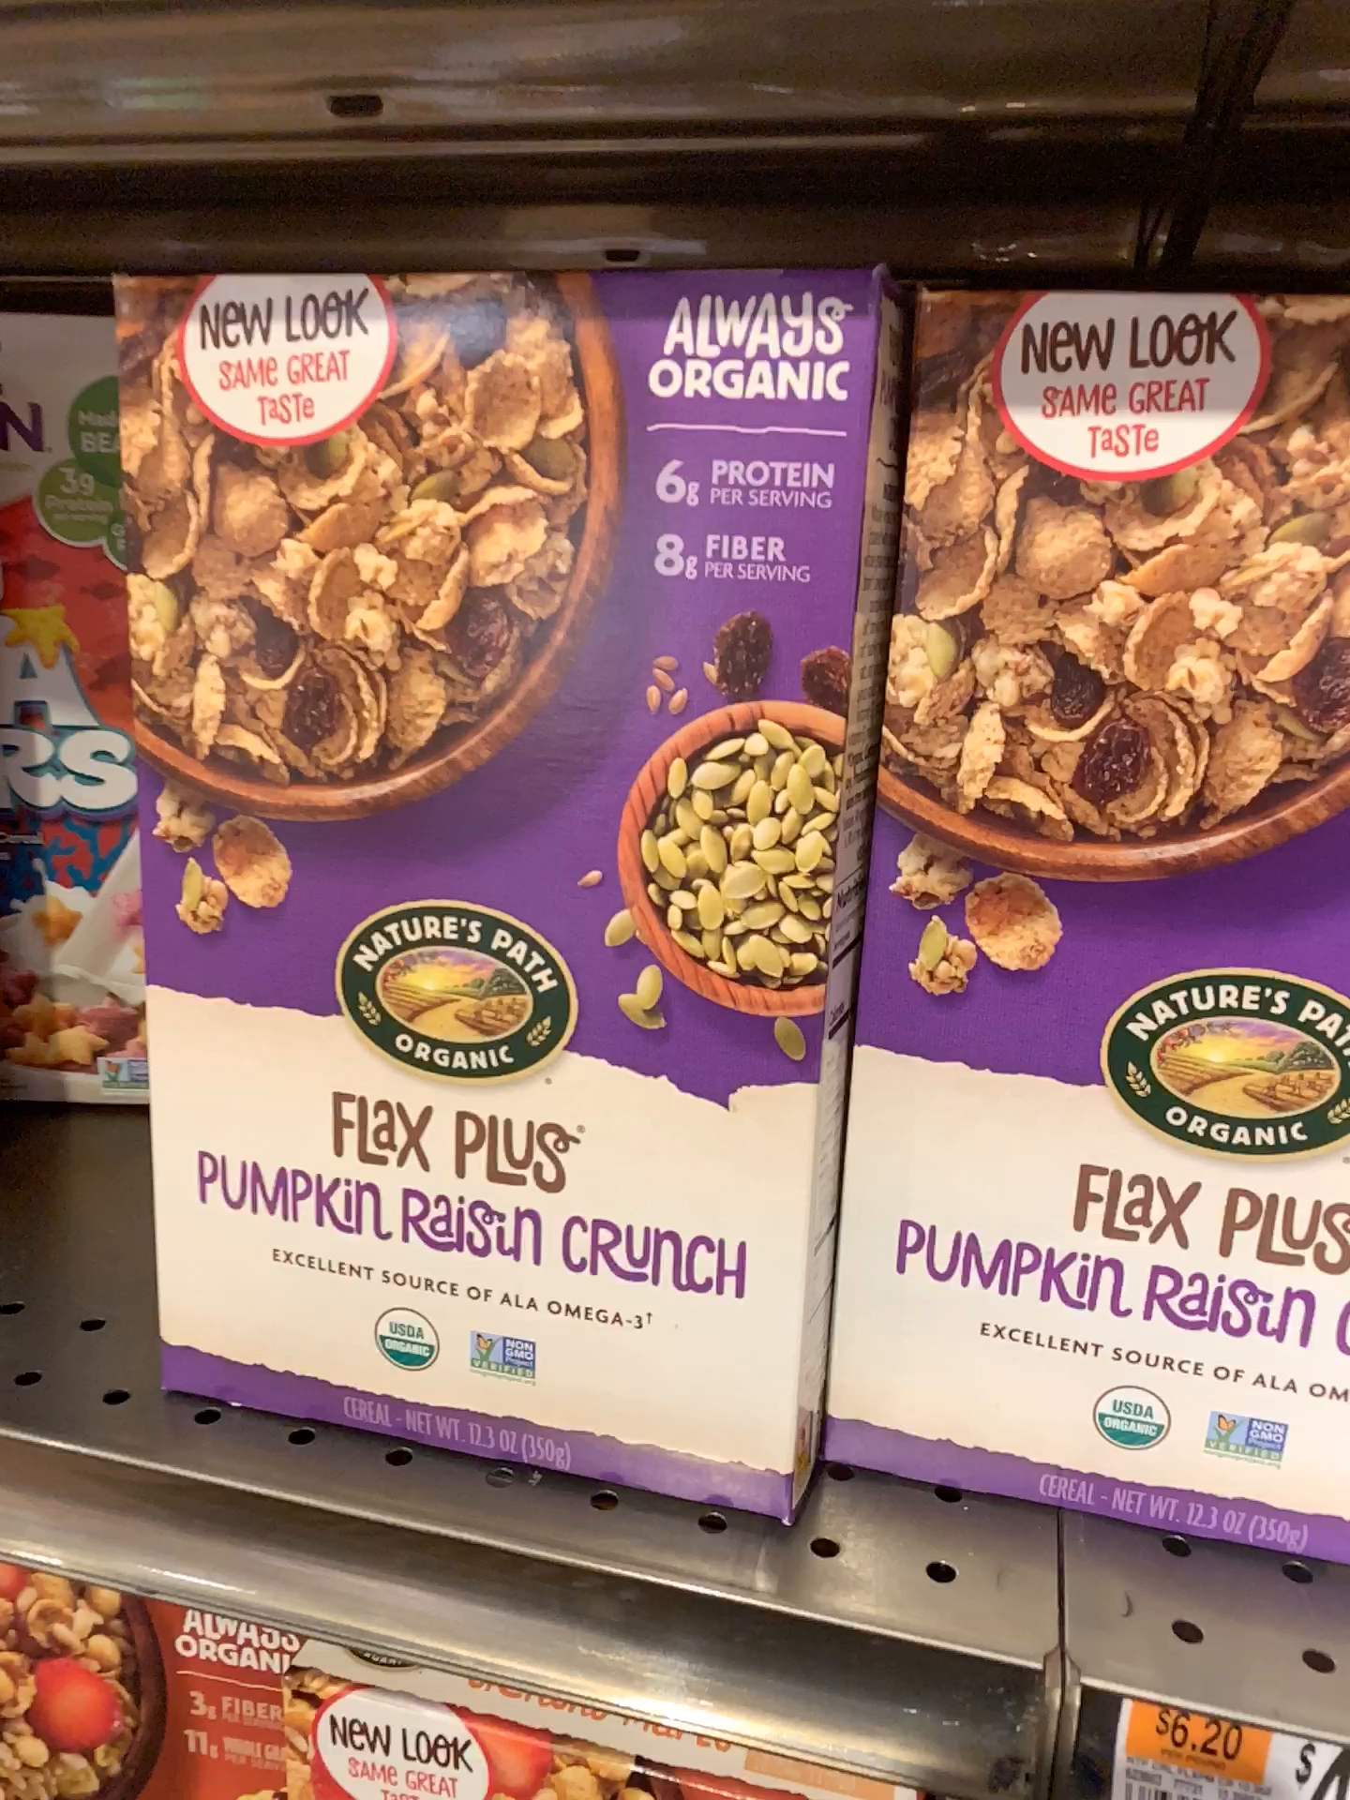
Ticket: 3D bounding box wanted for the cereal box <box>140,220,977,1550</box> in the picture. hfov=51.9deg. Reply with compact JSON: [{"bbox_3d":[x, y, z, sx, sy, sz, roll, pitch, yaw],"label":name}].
[{"bbox_3d":[-0.031,-0.004,0.320,0.170,0.269,0.050,6,12,15],"label":"cereal box"}]
